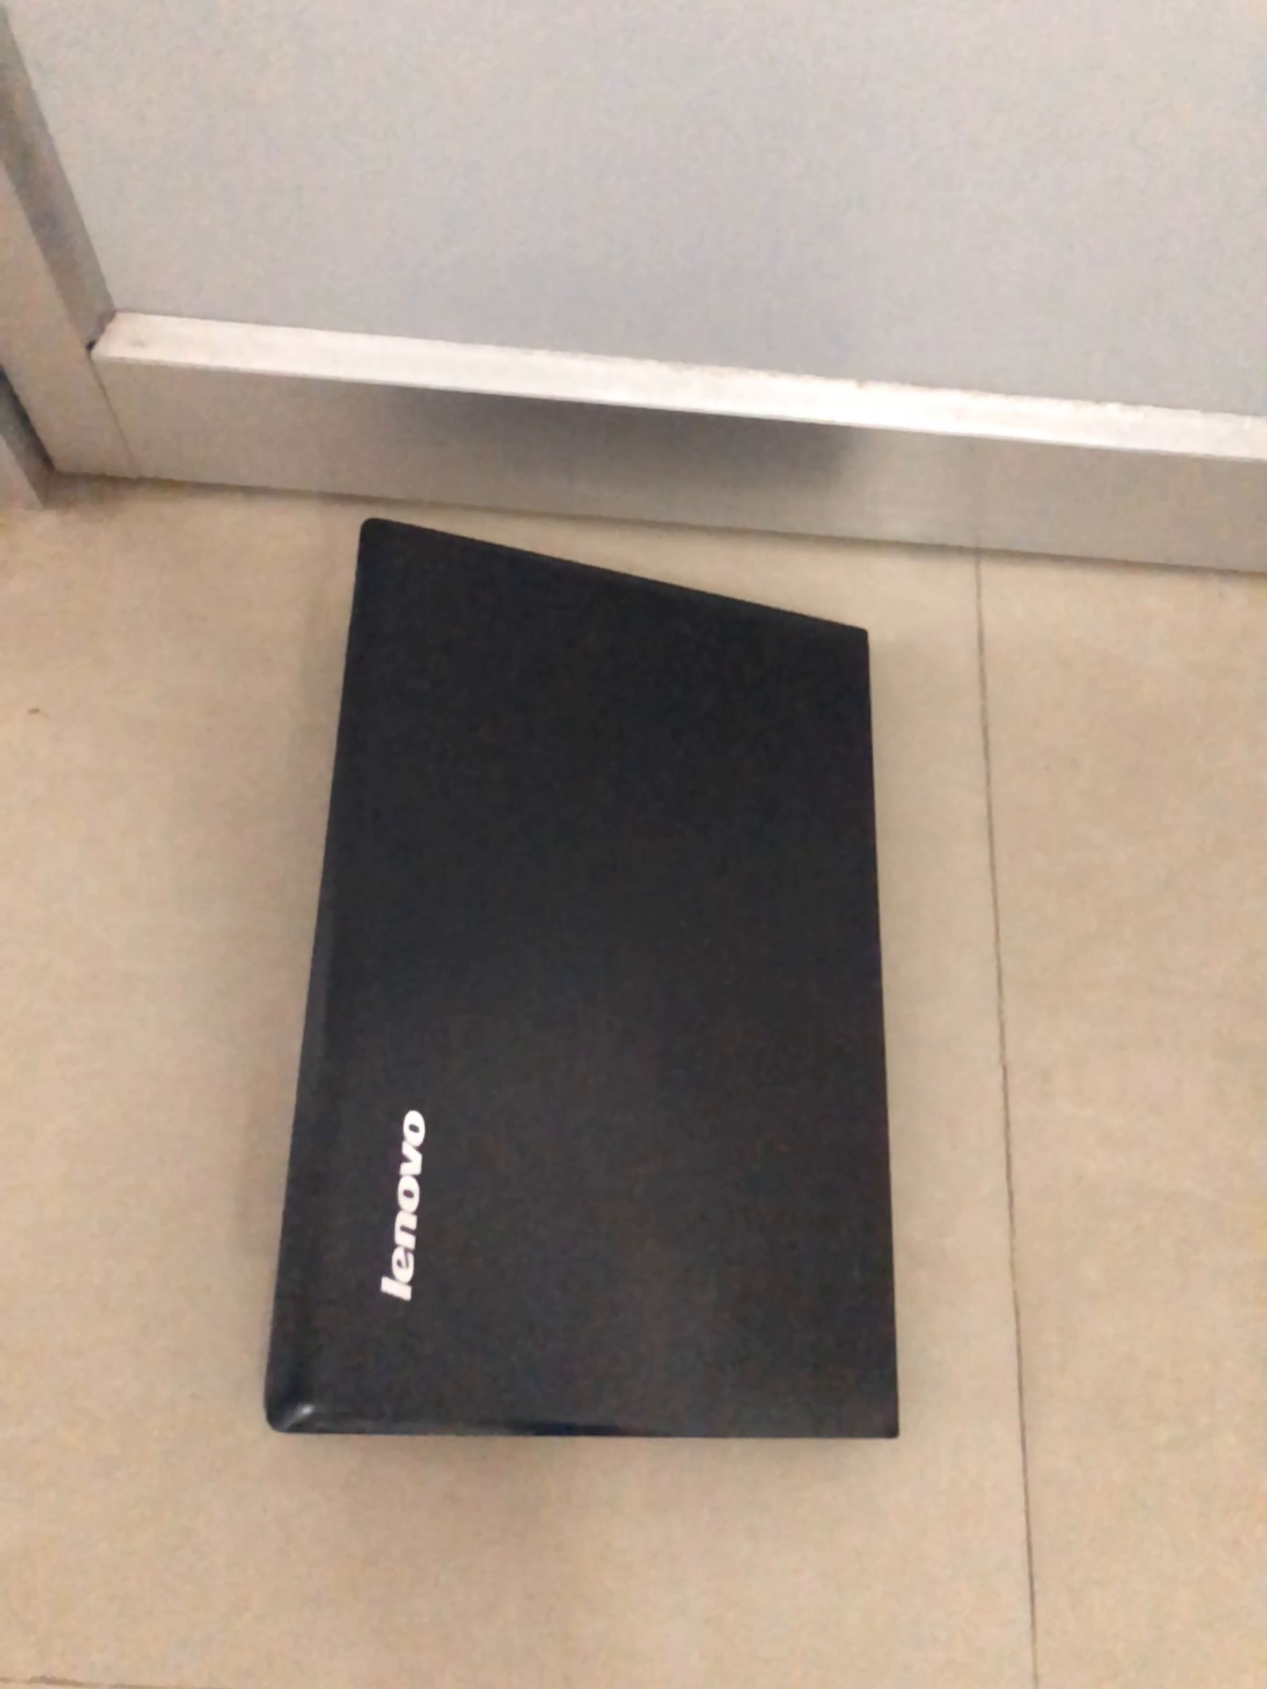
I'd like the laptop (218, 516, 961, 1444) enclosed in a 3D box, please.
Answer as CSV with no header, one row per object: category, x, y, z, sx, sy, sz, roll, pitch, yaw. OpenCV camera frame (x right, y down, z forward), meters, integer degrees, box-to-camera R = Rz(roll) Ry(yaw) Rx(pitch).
laptop,-0.012,0.050,0.596,0.257,0.098,0.367,2,69,-5
